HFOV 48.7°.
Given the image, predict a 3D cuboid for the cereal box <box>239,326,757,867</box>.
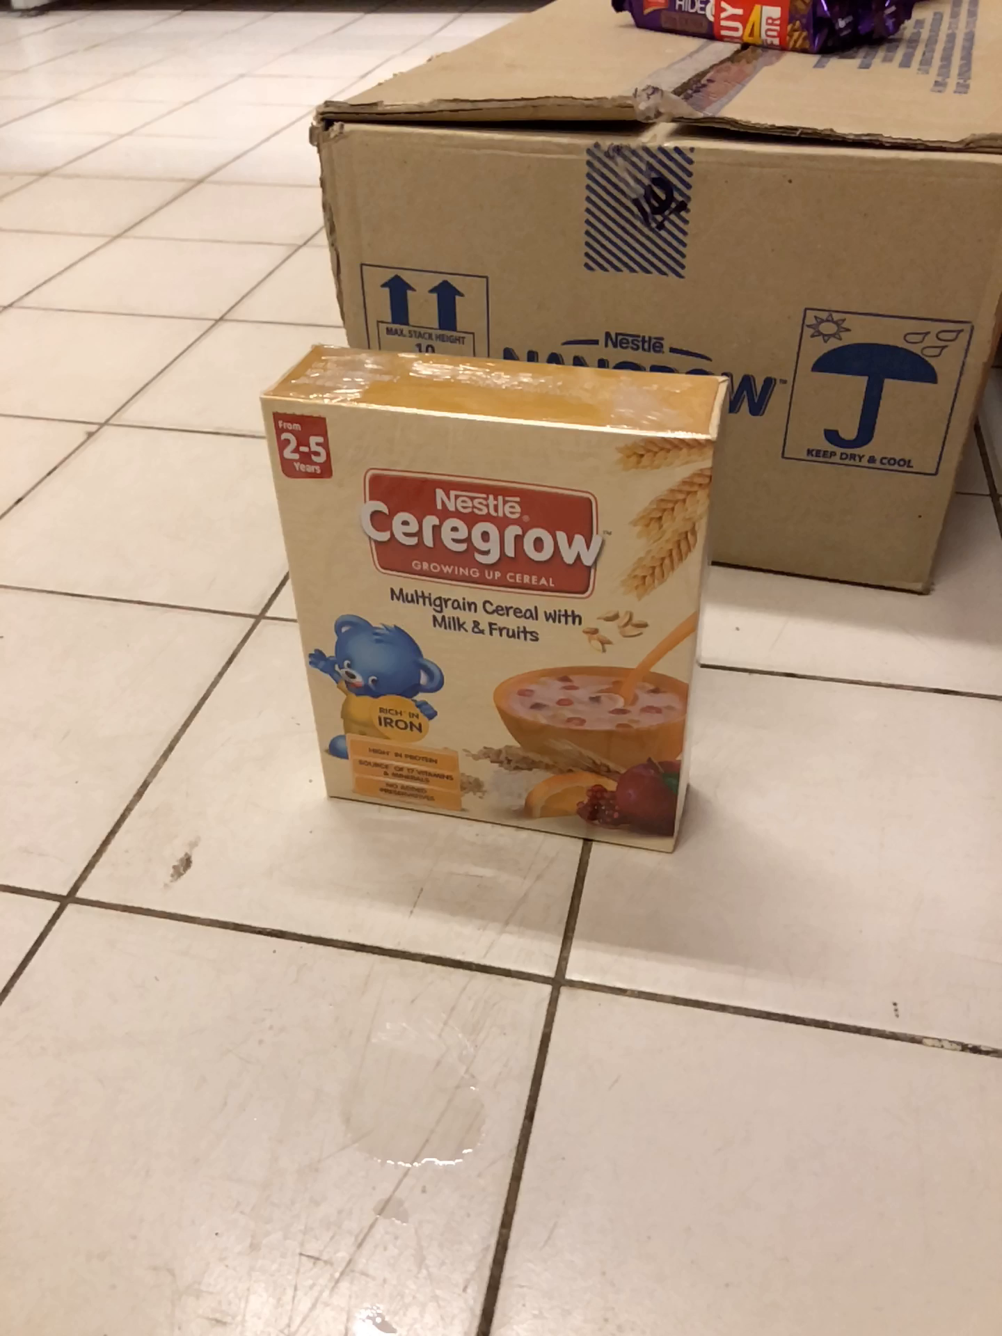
[{"bbox_3d":[0.002,-0.021,0.415,0.160,0.189,0.050,7,39,12],"label":"cereal box"}]
